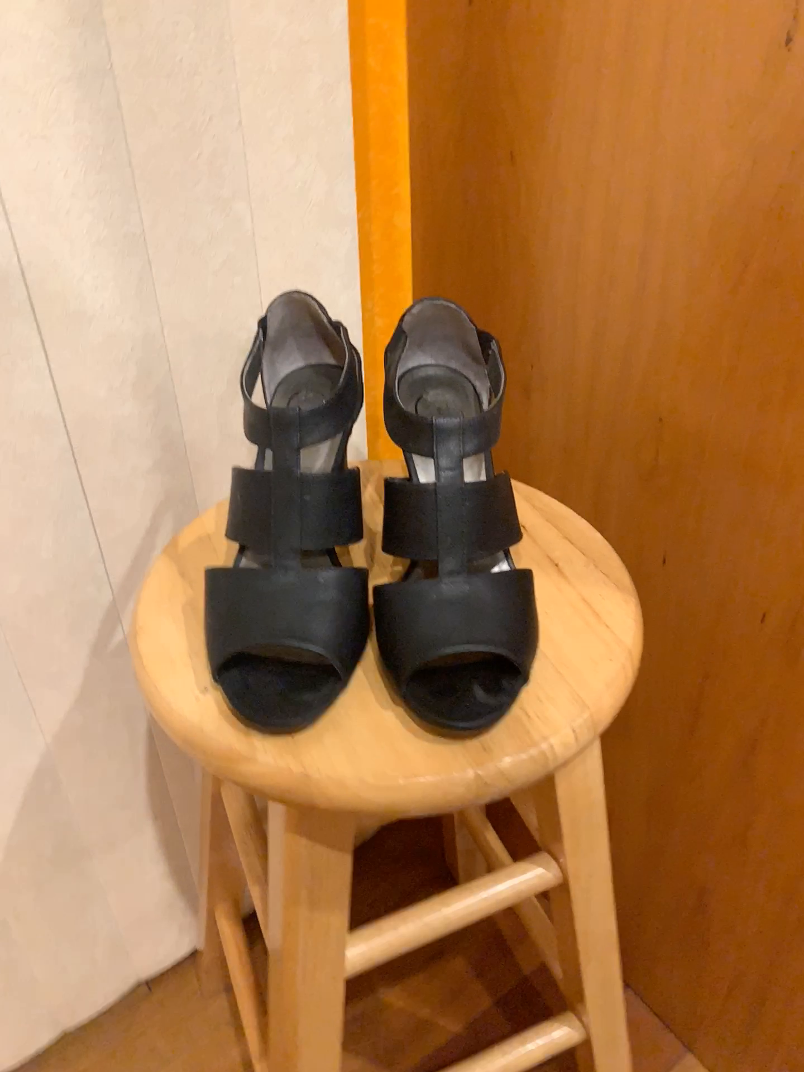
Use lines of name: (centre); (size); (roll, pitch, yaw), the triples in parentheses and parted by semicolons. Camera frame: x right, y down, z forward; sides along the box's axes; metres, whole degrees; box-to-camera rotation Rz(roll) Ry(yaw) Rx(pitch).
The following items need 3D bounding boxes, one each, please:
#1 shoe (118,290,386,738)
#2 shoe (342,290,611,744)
shoe: (-0.059, -0.029, 0.445); (0.090, 0.125, 0.245); (-1, 35, 1)
shoe: (0.026, -0.026, 0.440); (0.100, 0.130, 0.235); (-2, 35, -1)
